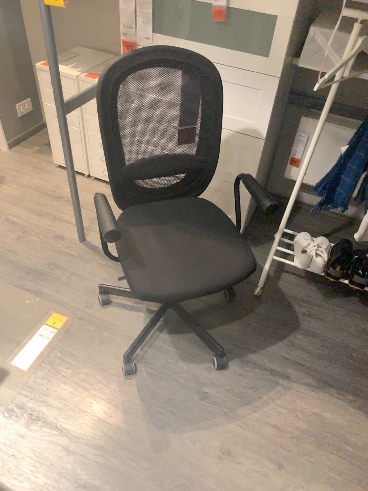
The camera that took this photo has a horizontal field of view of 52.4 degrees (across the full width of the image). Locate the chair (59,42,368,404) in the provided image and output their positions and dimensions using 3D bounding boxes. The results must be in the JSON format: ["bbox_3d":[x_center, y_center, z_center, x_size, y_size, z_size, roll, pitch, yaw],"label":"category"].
[{"bbox_3d":[0.002,-0.072,1.324,0.640,0.976,0.682,-11,46,-16],"label":"chair"}]
